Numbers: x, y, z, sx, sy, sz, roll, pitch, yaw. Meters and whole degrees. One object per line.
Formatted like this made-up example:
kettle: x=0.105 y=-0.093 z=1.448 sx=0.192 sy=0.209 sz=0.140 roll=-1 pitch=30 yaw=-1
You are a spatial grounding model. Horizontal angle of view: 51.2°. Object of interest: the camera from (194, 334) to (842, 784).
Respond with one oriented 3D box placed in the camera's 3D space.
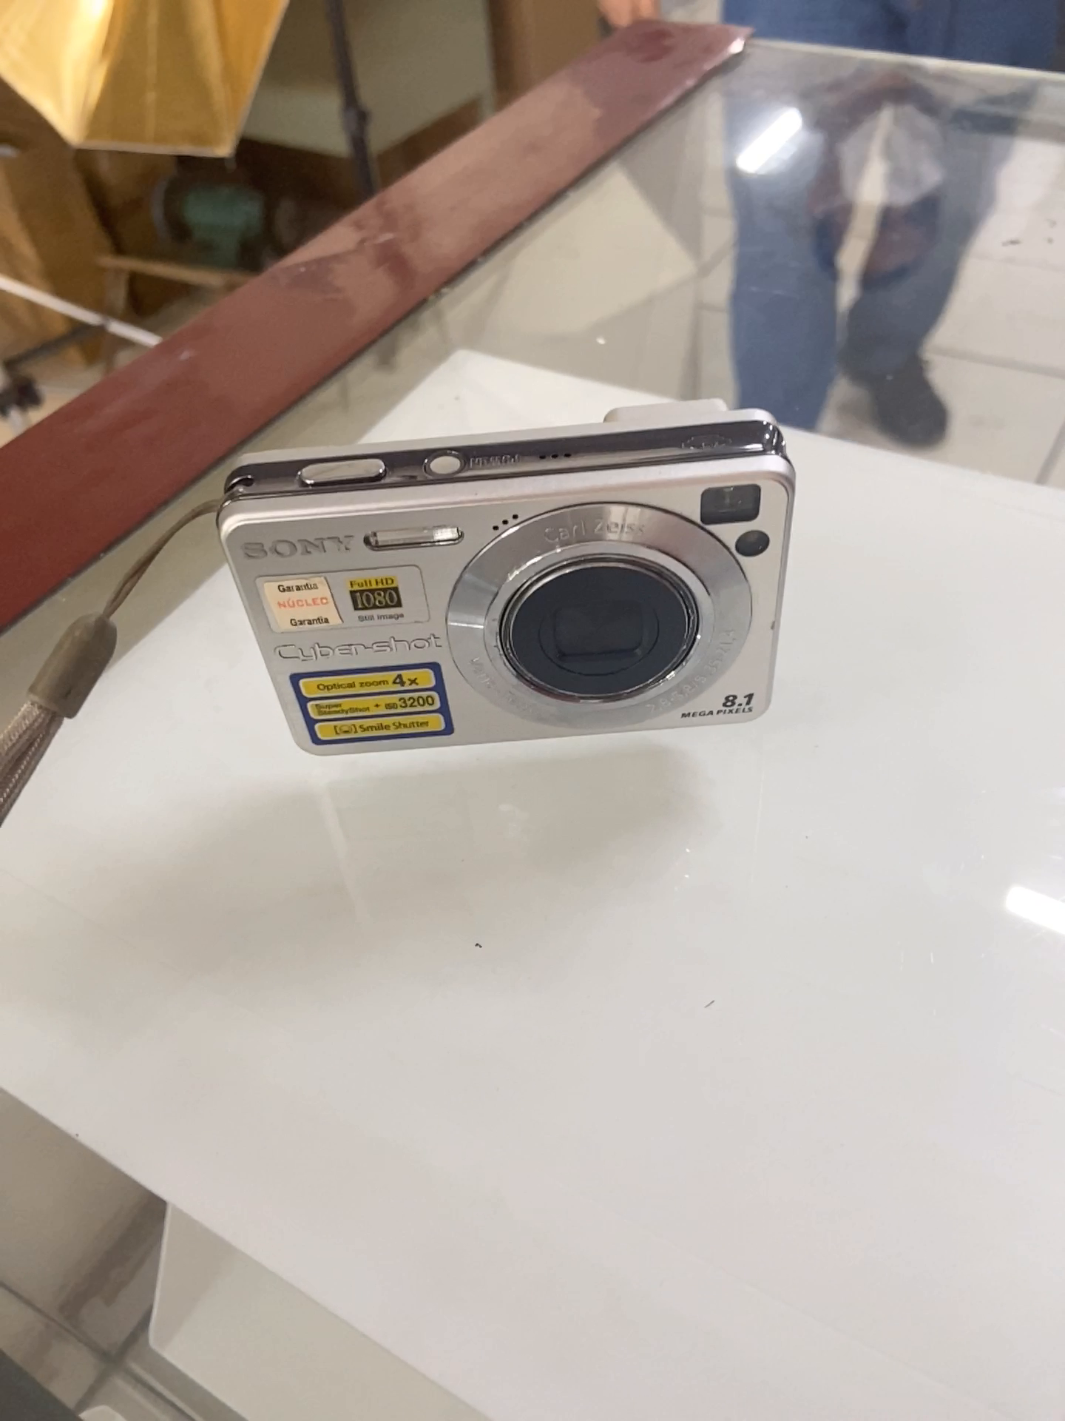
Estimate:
camera: x=-0.001 y=-0.023 z=0.186 sx=0.090 sy=0.060 sz=0.030 roll=-6 pitch=46 yaw=1
